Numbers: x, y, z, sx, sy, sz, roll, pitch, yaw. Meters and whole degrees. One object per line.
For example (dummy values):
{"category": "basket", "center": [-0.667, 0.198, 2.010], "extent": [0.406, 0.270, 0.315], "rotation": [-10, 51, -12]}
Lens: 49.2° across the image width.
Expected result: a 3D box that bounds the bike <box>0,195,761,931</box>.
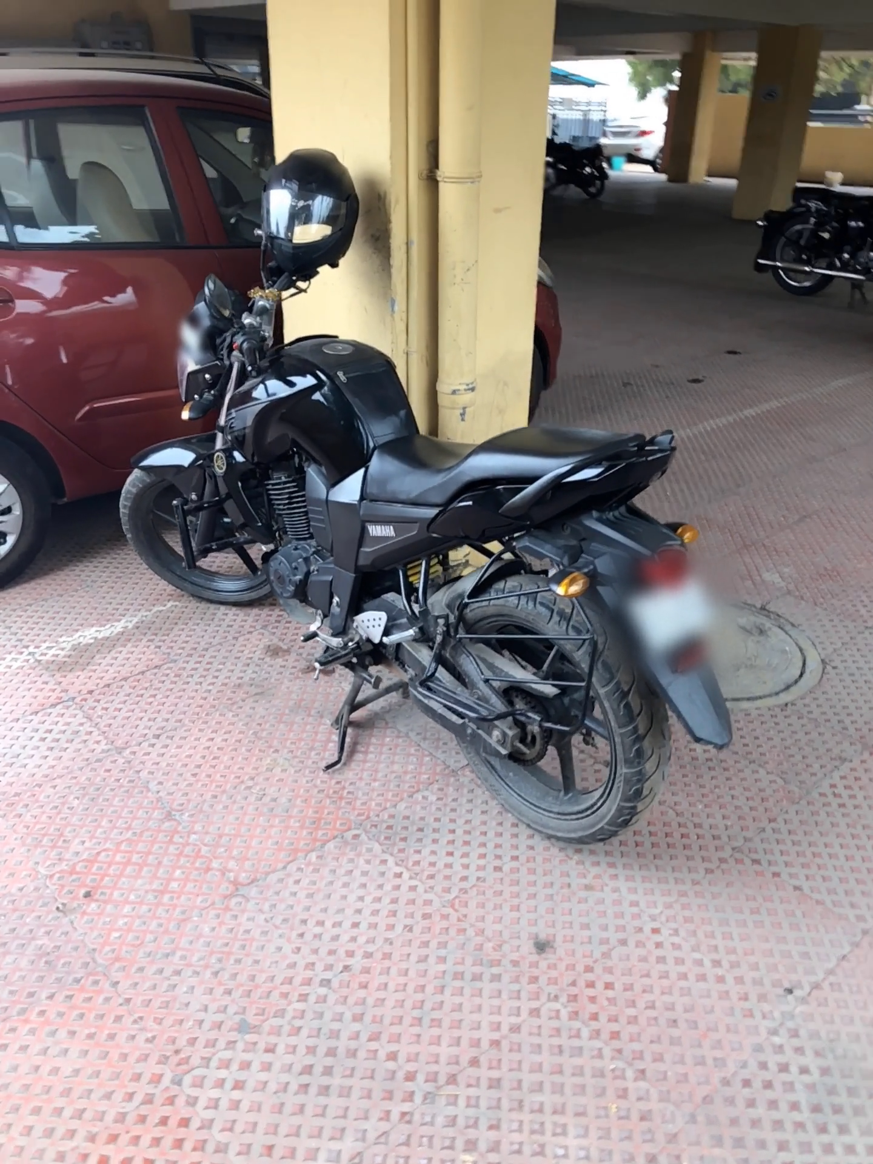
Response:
{"category": "bike", "center": [-0.335, -0.220, 2.242], "extent": [1.801, 1.052, 0.612], "rotation": [24, 34, 34]}
